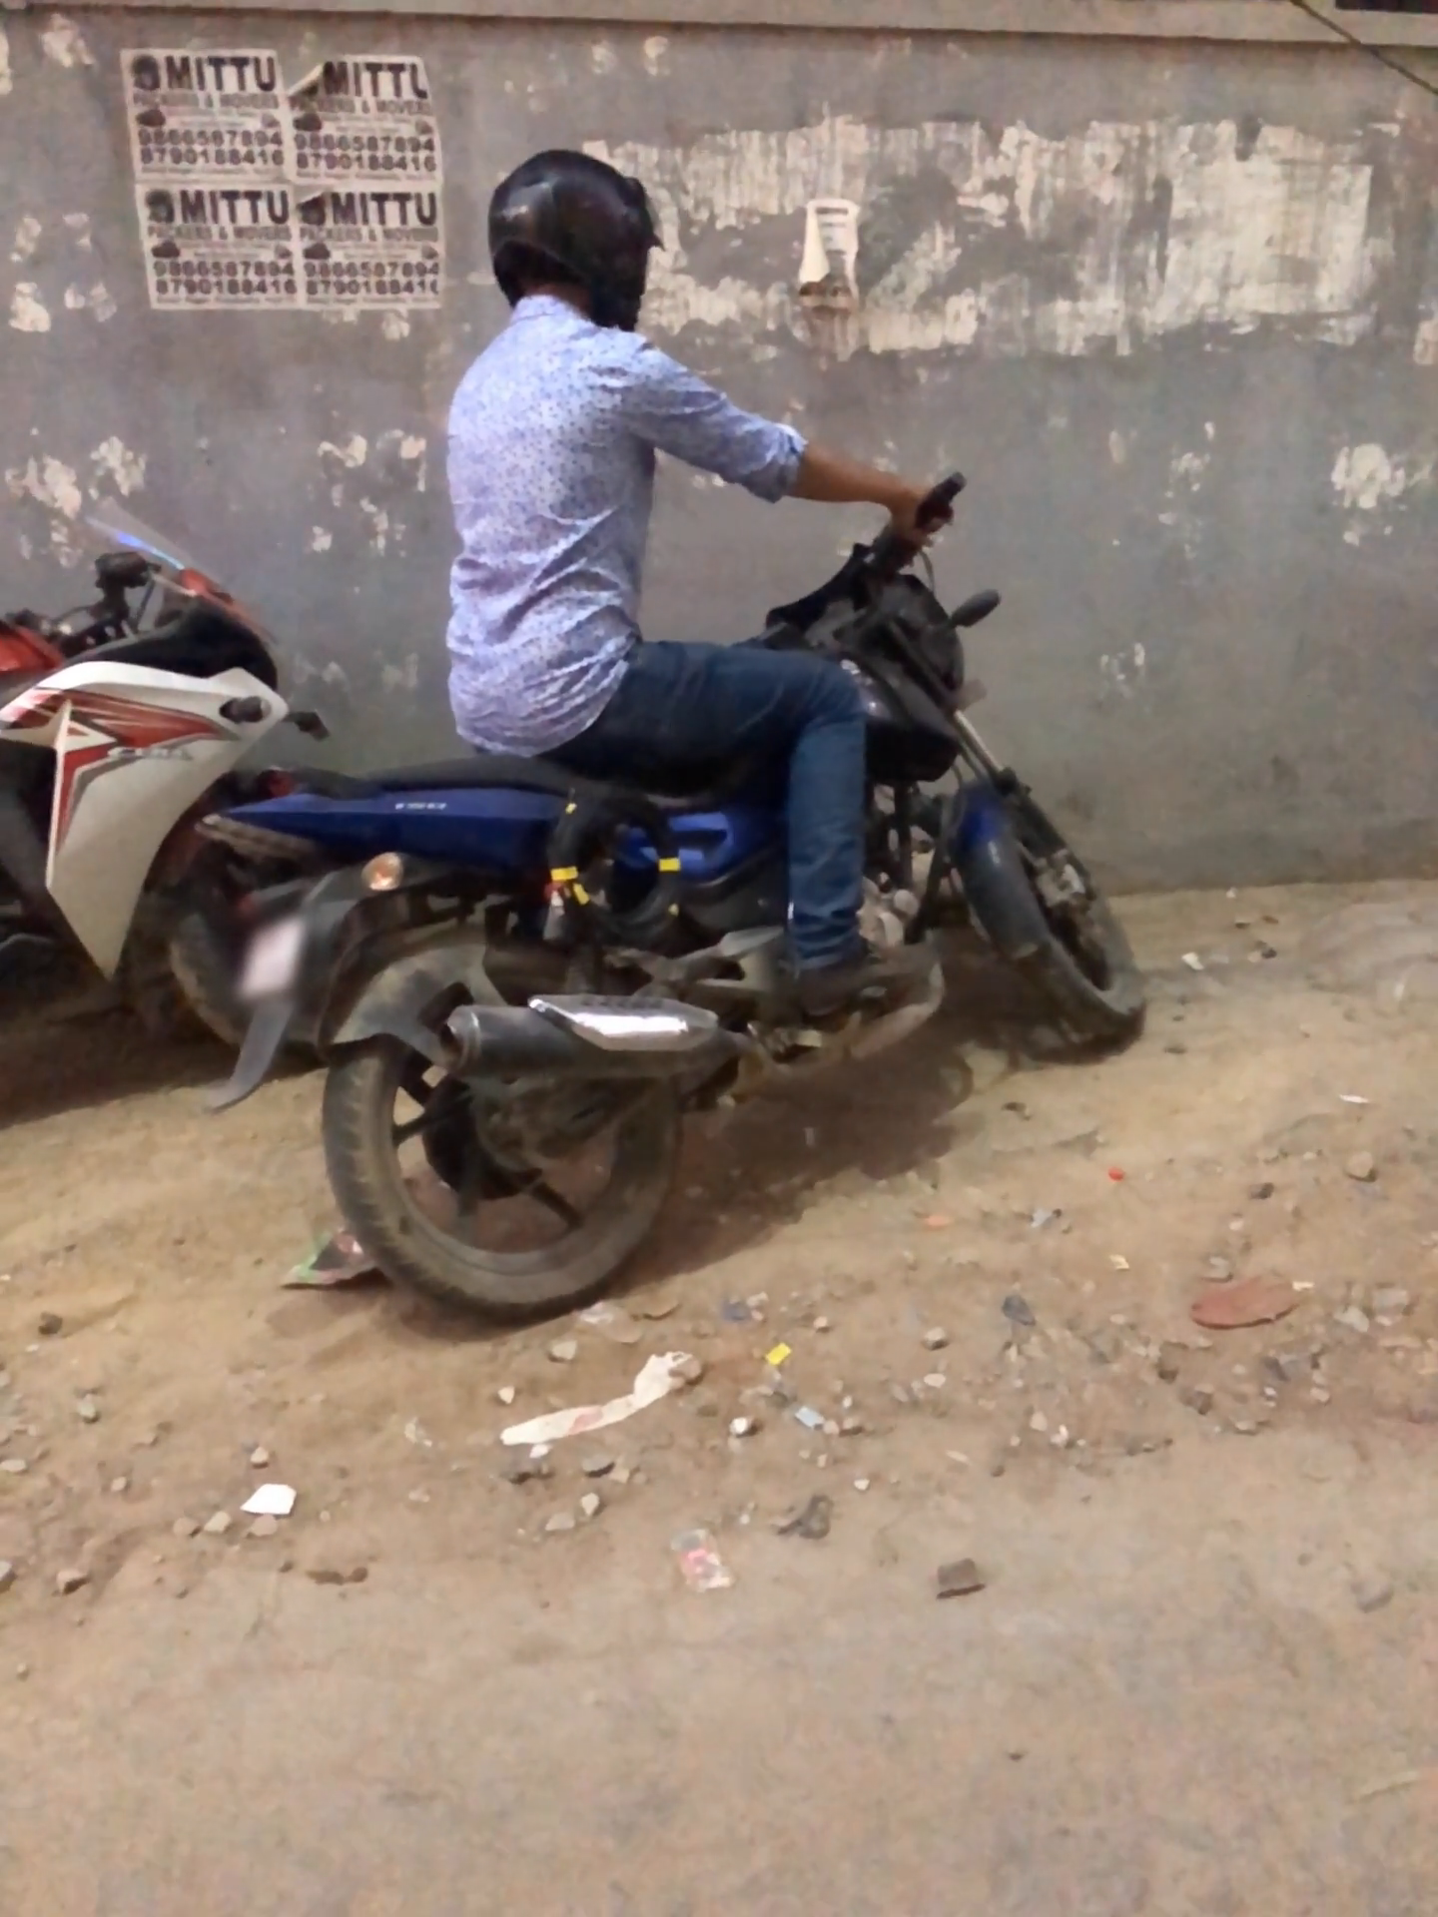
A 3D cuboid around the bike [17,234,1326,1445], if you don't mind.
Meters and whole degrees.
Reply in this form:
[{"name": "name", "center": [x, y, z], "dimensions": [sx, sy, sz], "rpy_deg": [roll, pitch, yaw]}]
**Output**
[{"name": "bike", "center": [-0.023, -0.368, 2.553], "dimensions": [1.093, 1.113, 1.508], "rpy_deg": [18, 36, 39]}]
